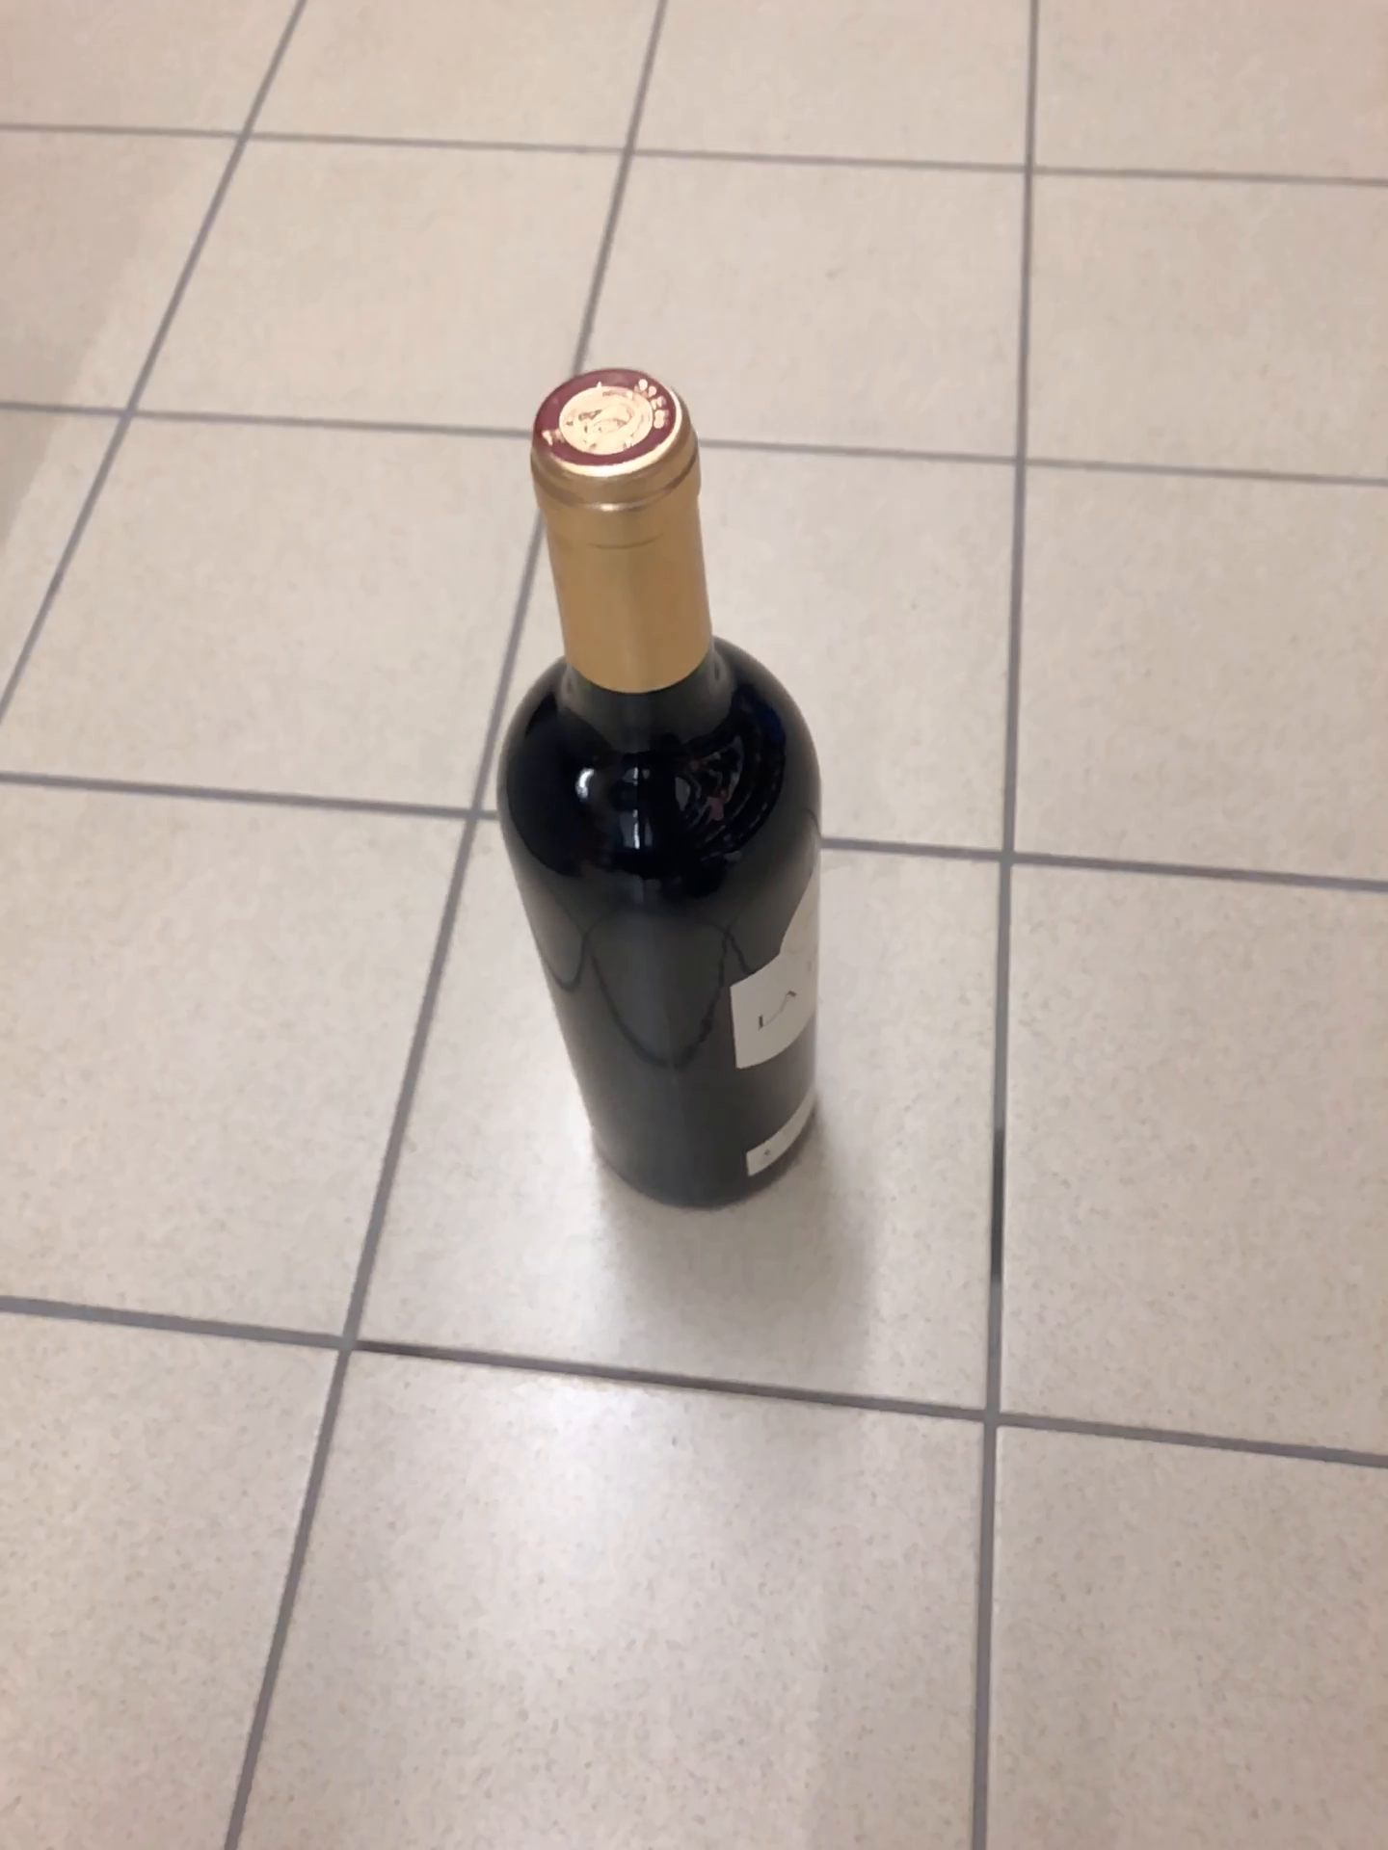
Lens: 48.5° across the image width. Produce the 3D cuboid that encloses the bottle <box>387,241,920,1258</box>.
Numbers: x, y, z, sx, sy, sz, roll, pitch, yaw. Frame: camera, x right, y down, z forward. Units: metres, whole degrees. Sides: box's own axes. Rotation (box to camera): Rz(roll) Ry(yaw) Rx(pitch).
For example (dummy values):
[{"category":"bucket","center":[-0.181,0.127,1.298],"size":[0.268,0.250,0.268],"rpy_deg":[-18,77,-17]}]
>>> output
[{"category":"bottle","center":[-0.002,-0.009,0.379],"size":[0.080,0.289,0.090],"rpy_deg":[-4,60,1]}]
